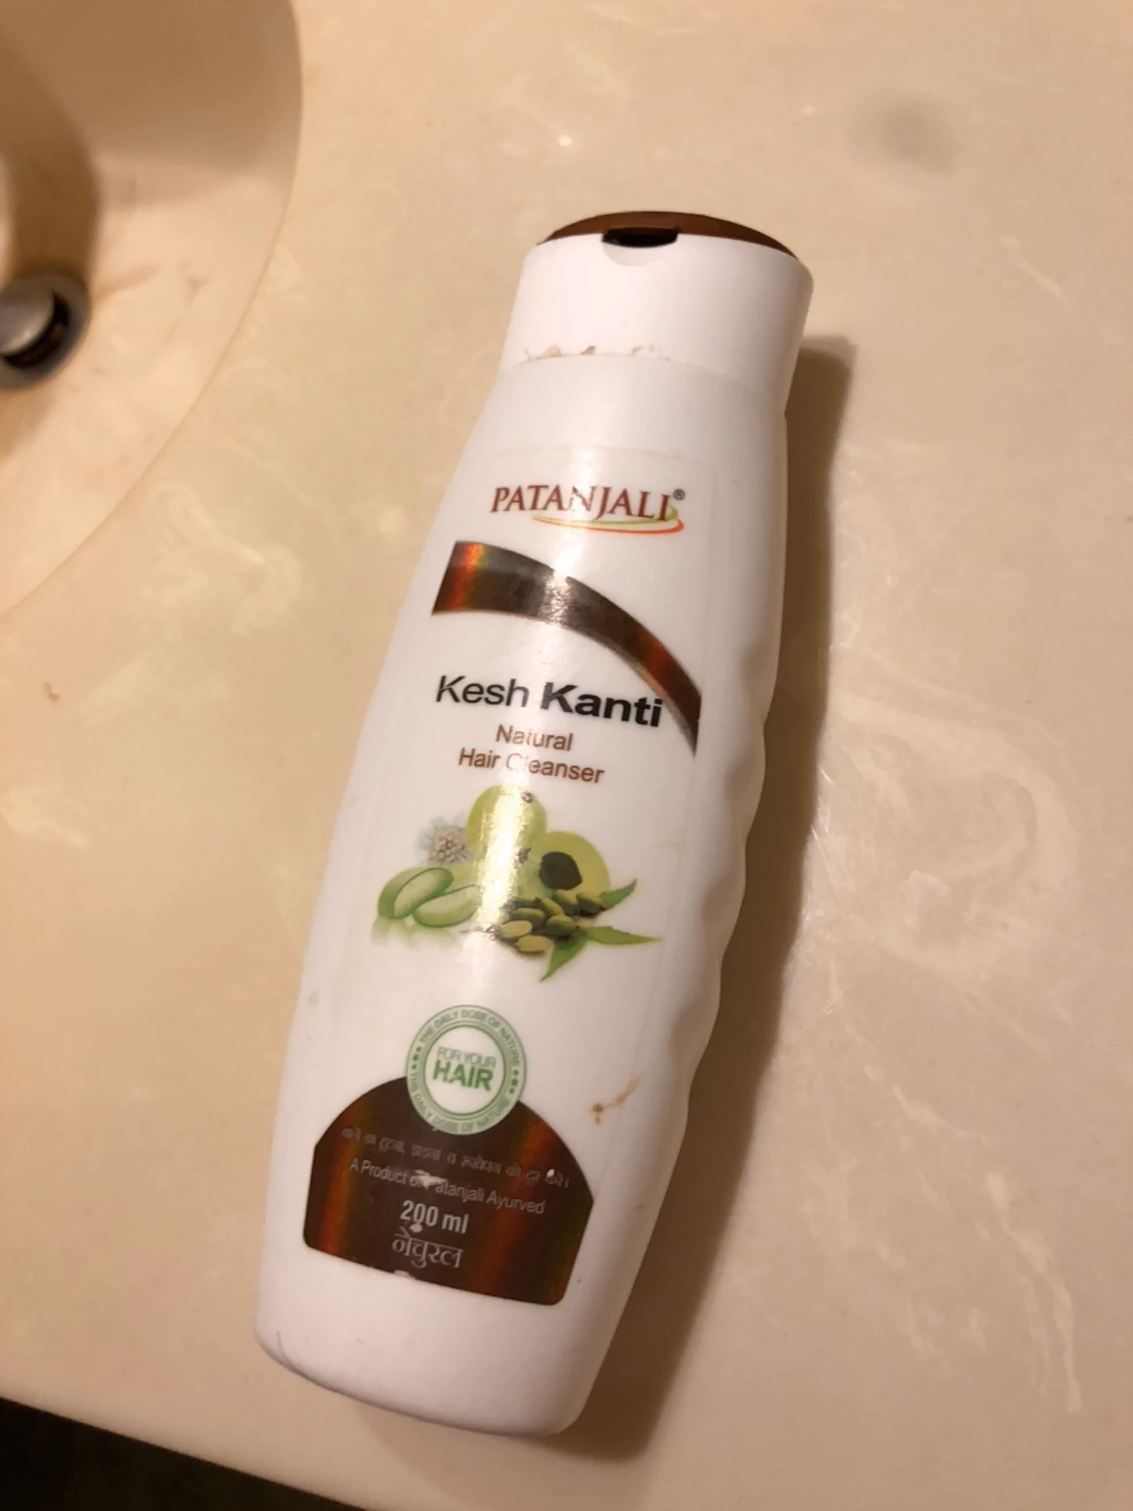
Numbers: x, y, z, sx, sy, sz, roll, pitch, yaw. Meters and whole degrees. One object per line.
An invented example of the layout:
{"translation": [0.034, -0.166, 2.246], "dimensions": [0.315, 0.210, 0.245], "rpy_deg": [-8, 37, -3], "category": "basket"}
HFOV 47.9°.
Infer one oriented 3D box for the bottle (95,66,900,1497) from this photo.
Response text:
{"translation": [-0.002, -0.008, 0.201], "dimensions": [0.070, 0.040, 0.200], "rpy_deg": [8, 76, 23], "category": "bottle"}
